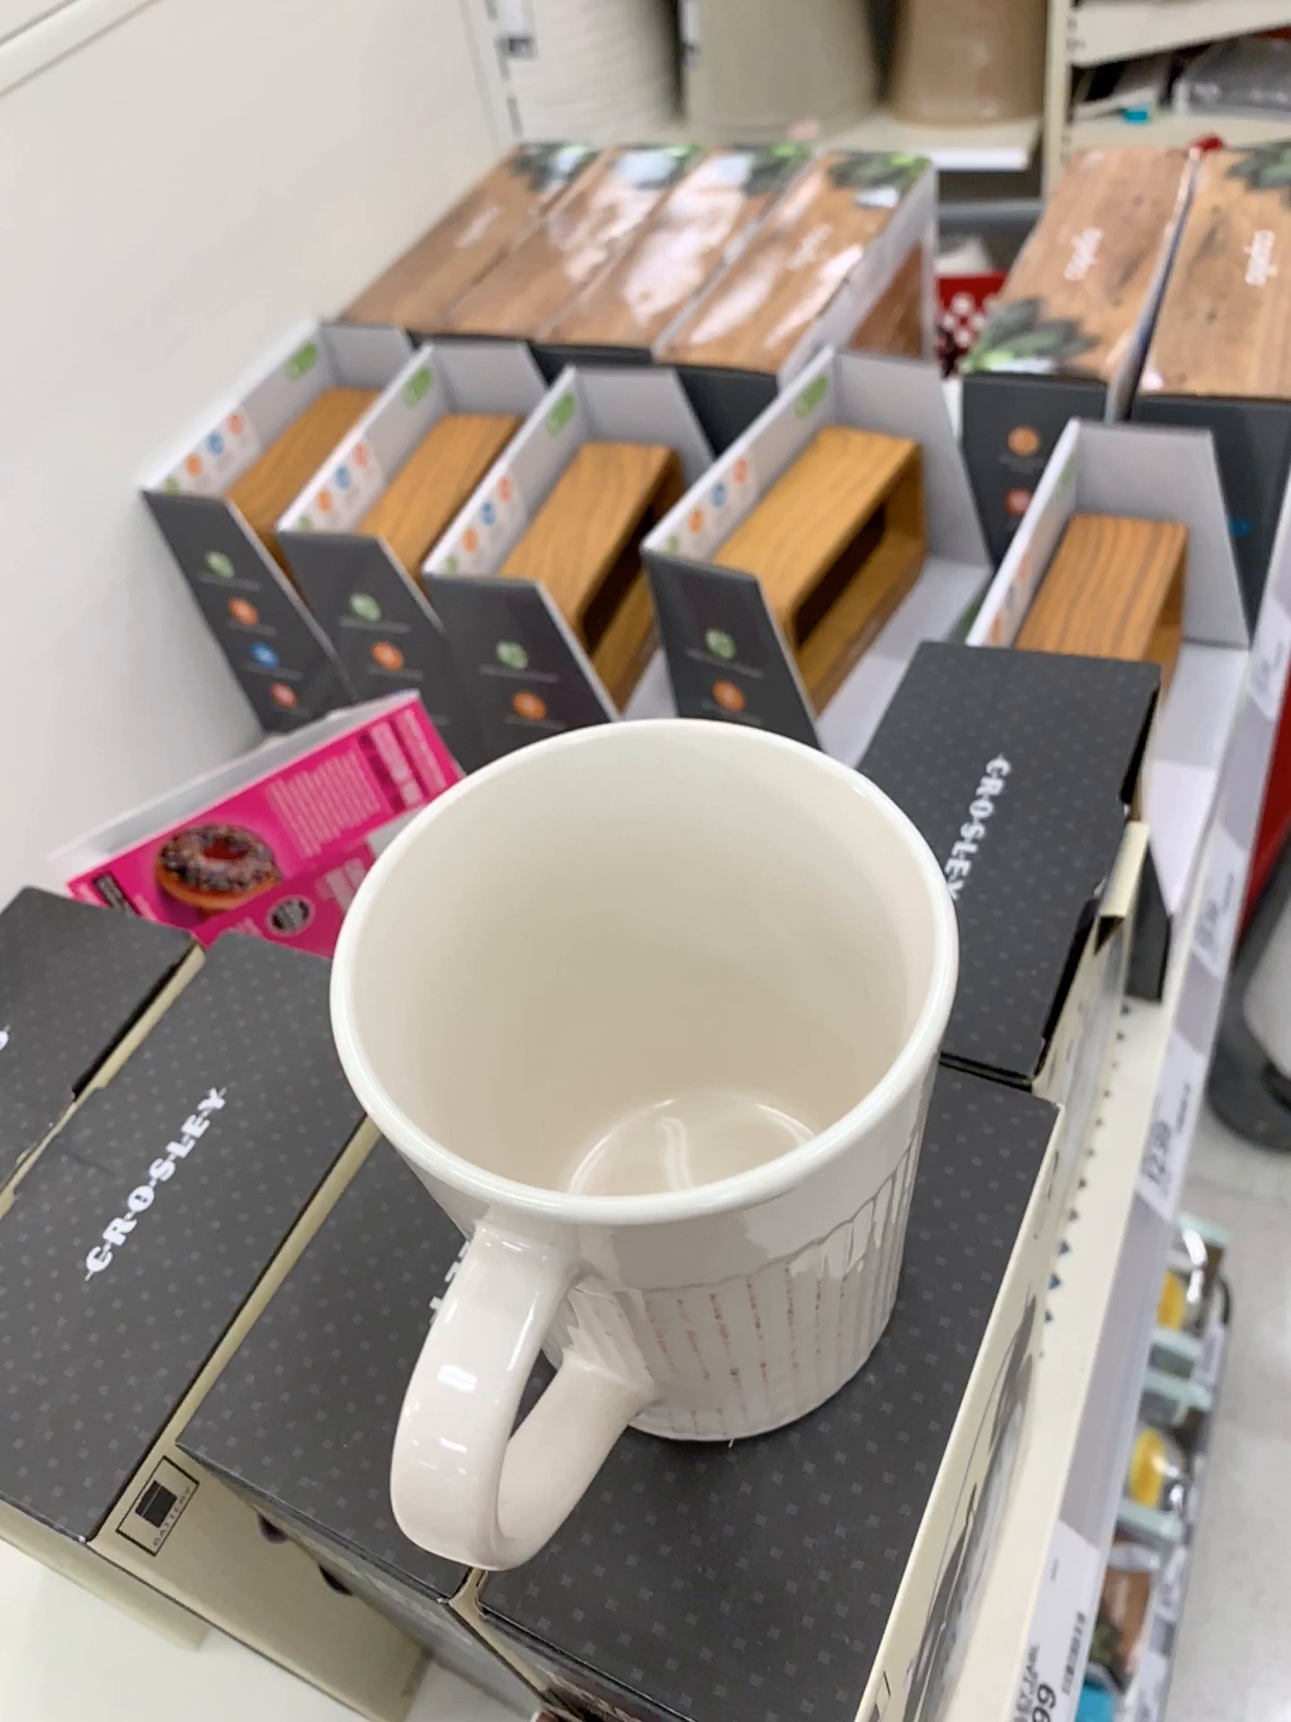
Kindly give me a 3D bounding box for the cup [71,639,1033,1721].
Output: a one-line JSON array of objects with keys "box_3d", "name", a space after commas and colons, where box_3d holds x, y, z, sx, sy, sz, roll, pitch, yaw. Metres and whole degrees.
[{"box_3d": [-0.002, 0.047, 0.220, 0.084, 0.099, 0.117, 18, 52, 24], "name": "cup"}]
